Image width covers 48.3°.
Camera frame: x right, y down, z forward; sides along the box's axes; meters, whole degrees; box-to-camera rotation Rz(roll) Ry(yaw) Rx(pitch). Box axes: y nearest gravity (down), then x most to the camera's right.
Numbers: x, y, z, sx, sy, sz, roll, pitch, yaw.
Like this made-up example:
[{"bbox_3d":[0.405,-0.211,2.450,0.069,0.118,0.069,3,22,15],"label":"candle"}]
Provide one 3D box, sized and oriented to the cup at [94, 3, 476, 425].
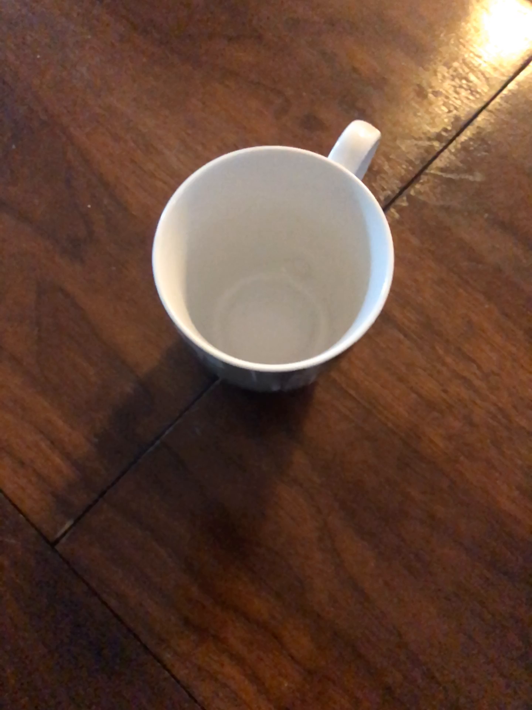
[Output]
[{"bbox_3d":[0.011,-0.058,0.271,0.100,0.080,0.140,25,76,6],"label":"cup"}]
